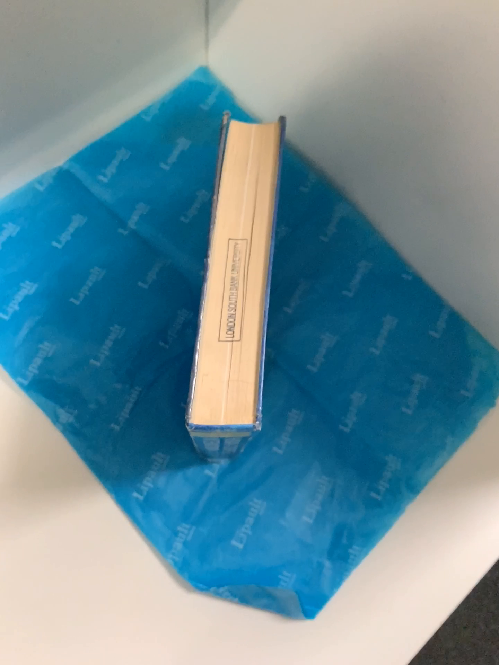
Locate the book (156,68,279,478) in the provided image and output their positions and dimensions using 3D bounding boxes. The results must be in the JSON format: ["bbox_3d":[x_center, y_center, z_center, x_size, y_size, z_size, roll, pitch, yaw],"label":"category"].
[{"bbox_3d":[-0.021,-0.012,0.400,0.050,0.259,0.221,4,70,-3],"label":"book"}]
